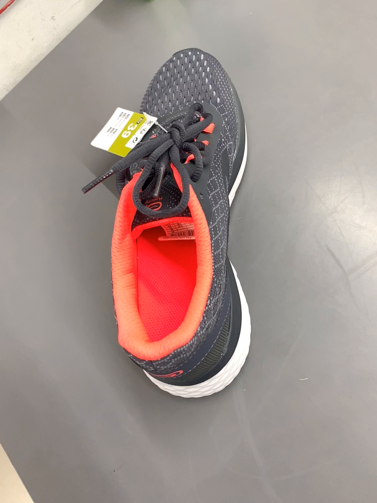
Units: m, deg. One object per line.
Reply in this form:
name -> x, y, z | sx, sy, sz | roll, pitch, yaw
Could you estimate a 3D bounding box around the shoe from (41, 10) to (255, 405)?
shoe -> -0.015, -0.028, 0.306 | 0.110, 0.110, 0.270 | -4, 70, 15
